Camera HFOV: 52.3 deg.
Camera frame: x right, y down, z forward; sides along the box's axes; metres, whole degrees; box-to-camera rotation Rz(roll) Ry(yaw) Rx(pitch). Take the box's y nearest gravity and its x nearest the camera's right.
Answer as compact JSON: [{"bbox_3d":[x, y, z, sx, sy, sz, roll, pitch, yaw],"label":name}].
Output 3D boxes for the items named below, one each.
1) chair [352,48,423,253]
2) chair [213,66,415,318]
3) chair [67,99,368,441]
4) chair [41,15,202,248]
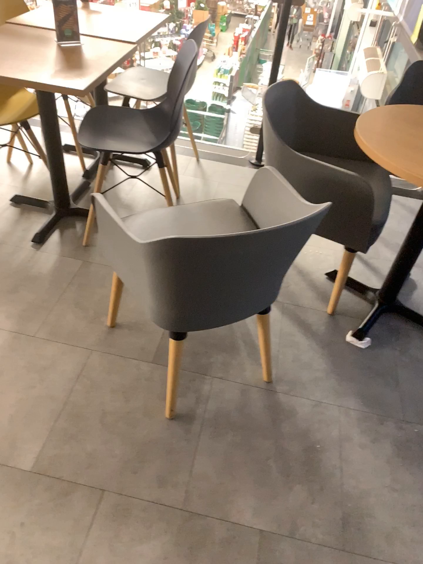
[{"bbox_3d":[1.075,-0.659,2.148,0.484,0.725,0.585,16,42,9],"label":"chair"},{"bbox_3d":[0.384,-0.364,1.731,0.540,0.724,0.518,19,43,13],"label":"chair"},{"bbox_3d":[-0.049,-0.054,1.315,0.545,0.734,0.584,-15,47,-23],"label":"chair"},{"bbox_3d":[-0.352,-0.605,1.828,0.510,0.784,0.478,0,42,-9],"label":"chair"}]
